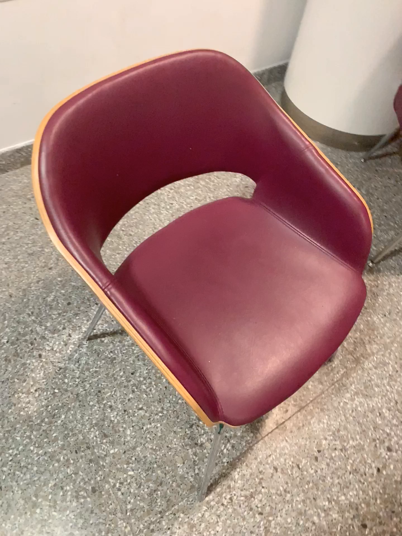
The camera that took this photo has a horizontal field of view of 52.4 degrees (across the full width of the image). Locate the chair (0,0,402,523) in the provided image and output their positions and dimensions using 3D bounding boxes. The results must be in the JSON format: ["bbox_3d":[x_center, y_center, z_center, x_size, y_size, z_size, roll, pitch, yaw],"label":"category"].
[{"bbox_3d":[0.056,0.025,0.874,0.573,0.734,0.632,-36,66,-26],"label":"chair"}]
